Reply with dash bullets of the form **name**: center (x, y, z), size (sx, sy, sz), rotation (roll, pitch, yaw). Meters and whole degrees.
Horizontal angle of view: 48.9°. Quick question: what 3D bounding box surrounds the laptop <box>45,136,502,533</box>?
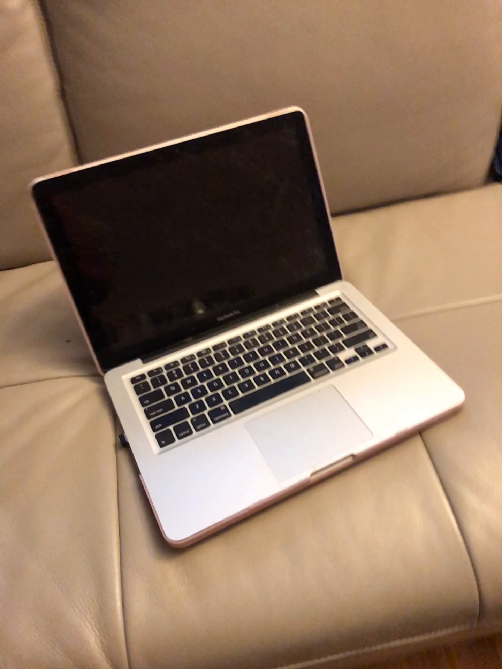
- **laptop**: center (0.003, -0.031, 0.544), size (0.305, 0.177, 0.307), rotation (-22, 44, -15)
